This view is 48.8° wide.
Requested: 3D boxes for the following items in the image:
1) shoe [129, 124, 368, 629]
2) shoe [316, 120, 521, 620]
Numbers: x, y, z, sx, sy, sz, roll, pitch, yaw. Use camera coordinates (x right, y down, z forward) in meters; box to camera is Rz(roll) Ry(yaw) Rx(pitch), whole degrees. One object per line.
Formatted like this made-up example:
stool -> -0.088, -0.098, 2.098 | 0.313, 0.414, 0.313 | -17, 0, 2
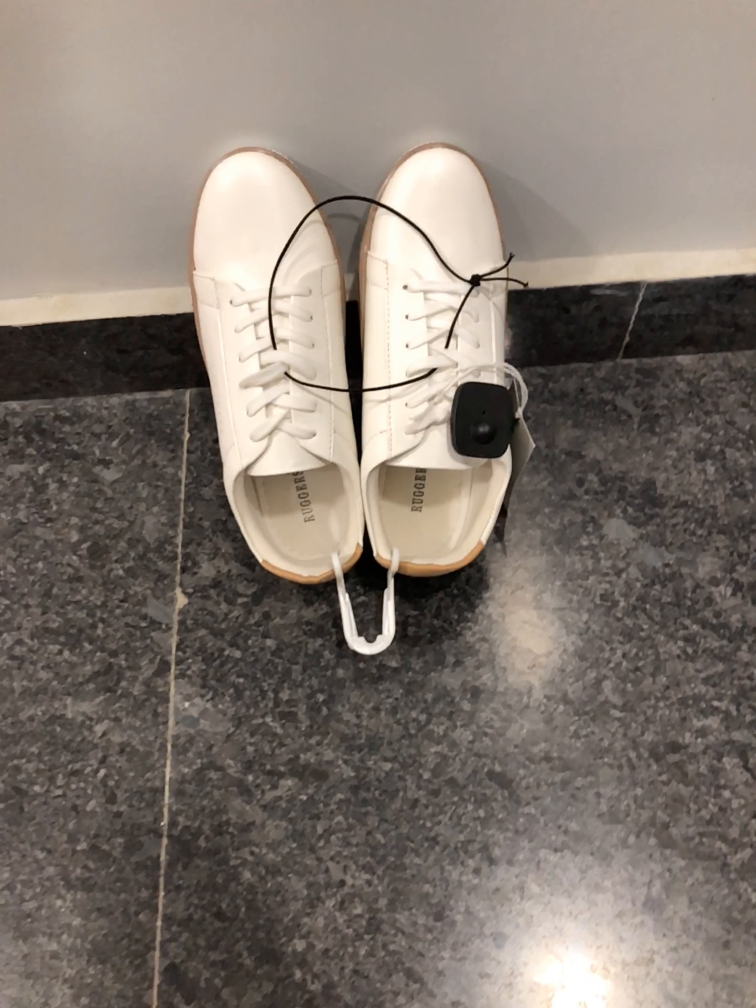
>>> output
shoe -> -0.070, -0.073, 0.511 | 0.101, 0.087, 0.272 | -6, 100, 0
shoe -> 0.021, -0.079, 0.517 | 0.107, 0.104, 0.273 | -2, 102, -5
